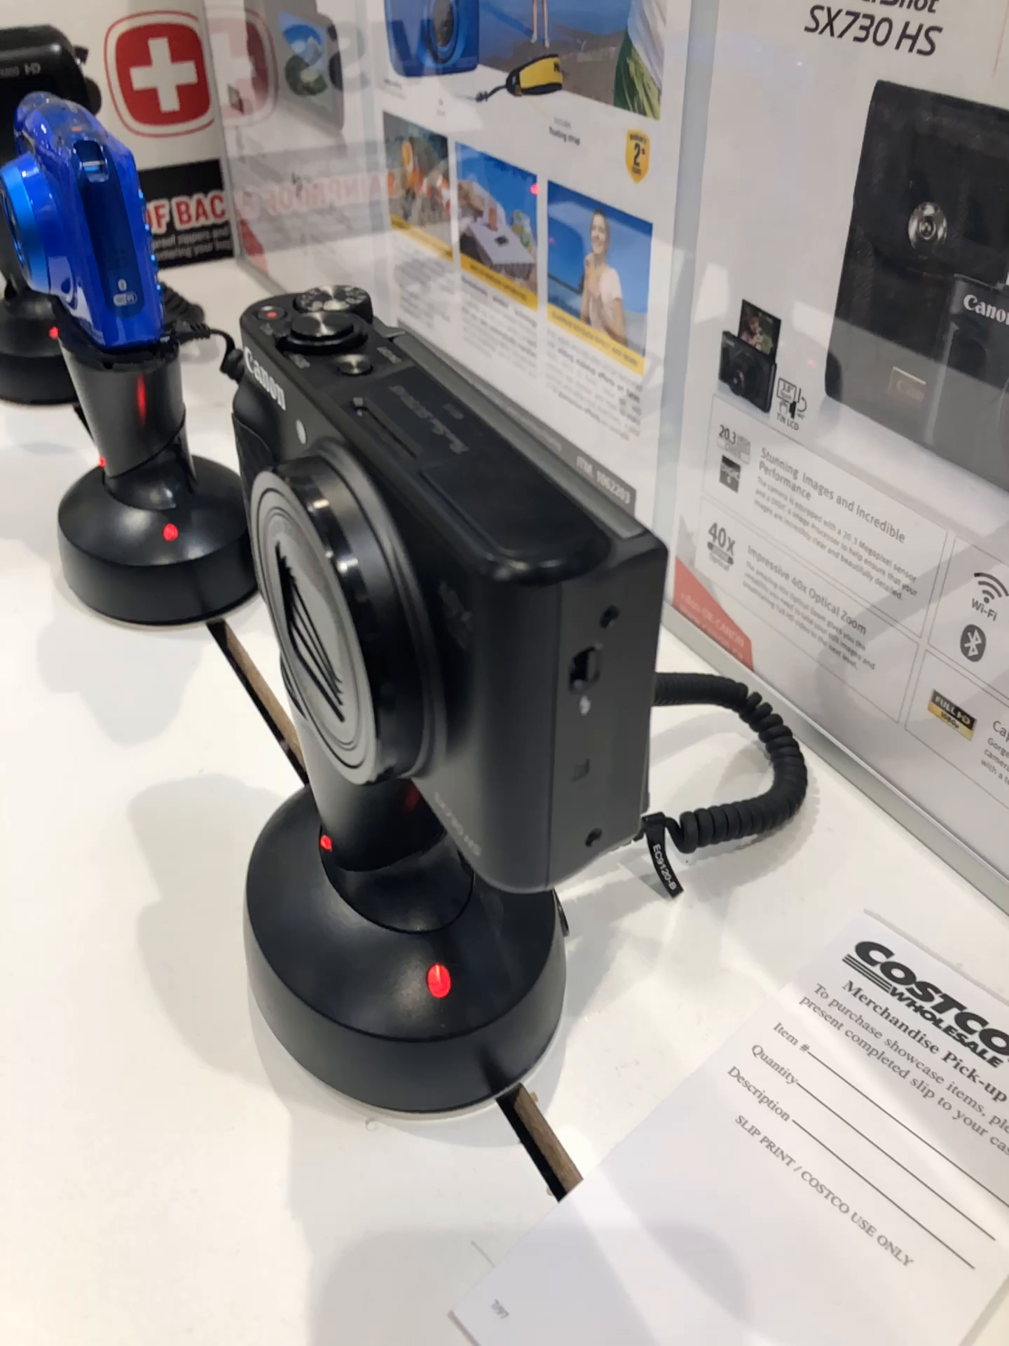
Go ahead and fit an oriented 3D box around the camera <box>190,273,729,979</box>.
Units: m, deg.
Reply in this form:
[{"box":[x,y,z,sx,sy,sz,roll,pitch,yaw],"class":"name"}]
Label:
[{"box":[-0.016,-0.018,0.206,0.040,0.070,0.121,-18,42,-22],"class":"camera"}]
